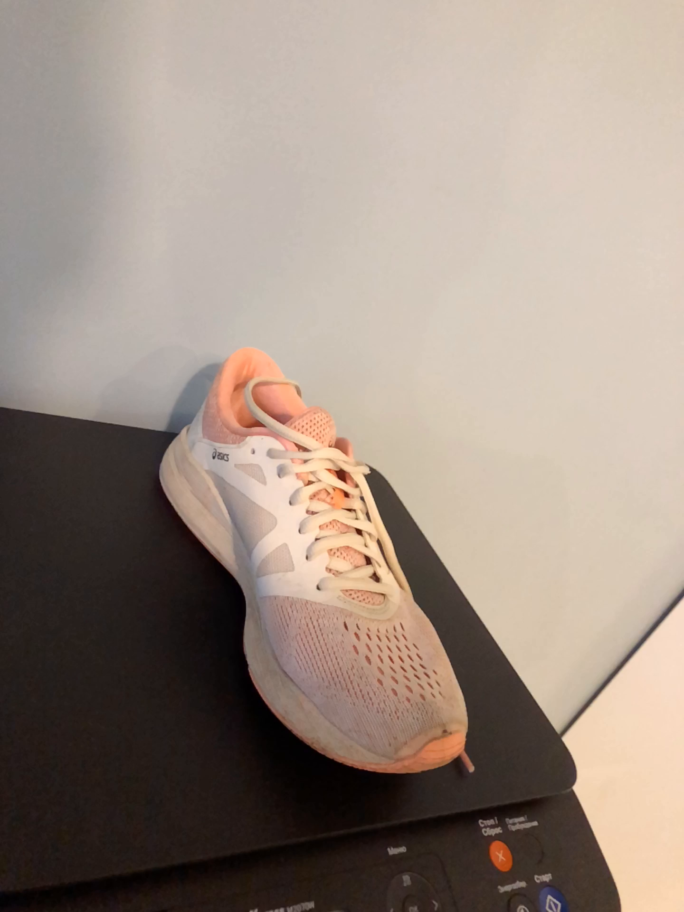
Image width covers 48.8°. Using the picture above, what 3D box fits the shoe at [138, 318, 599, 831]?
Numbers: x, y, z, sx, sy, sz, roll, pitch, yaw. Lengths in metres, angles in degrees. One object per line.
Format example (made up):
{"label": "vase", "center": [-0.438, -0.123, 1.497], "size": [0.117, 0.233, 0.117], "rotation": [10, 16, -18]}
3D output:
{"label": "shoe", "center": [-0.008, 0.039, 0.395], "size": [0.116, 0.089, 0.254], "rotation": [7, 33, -36]}
